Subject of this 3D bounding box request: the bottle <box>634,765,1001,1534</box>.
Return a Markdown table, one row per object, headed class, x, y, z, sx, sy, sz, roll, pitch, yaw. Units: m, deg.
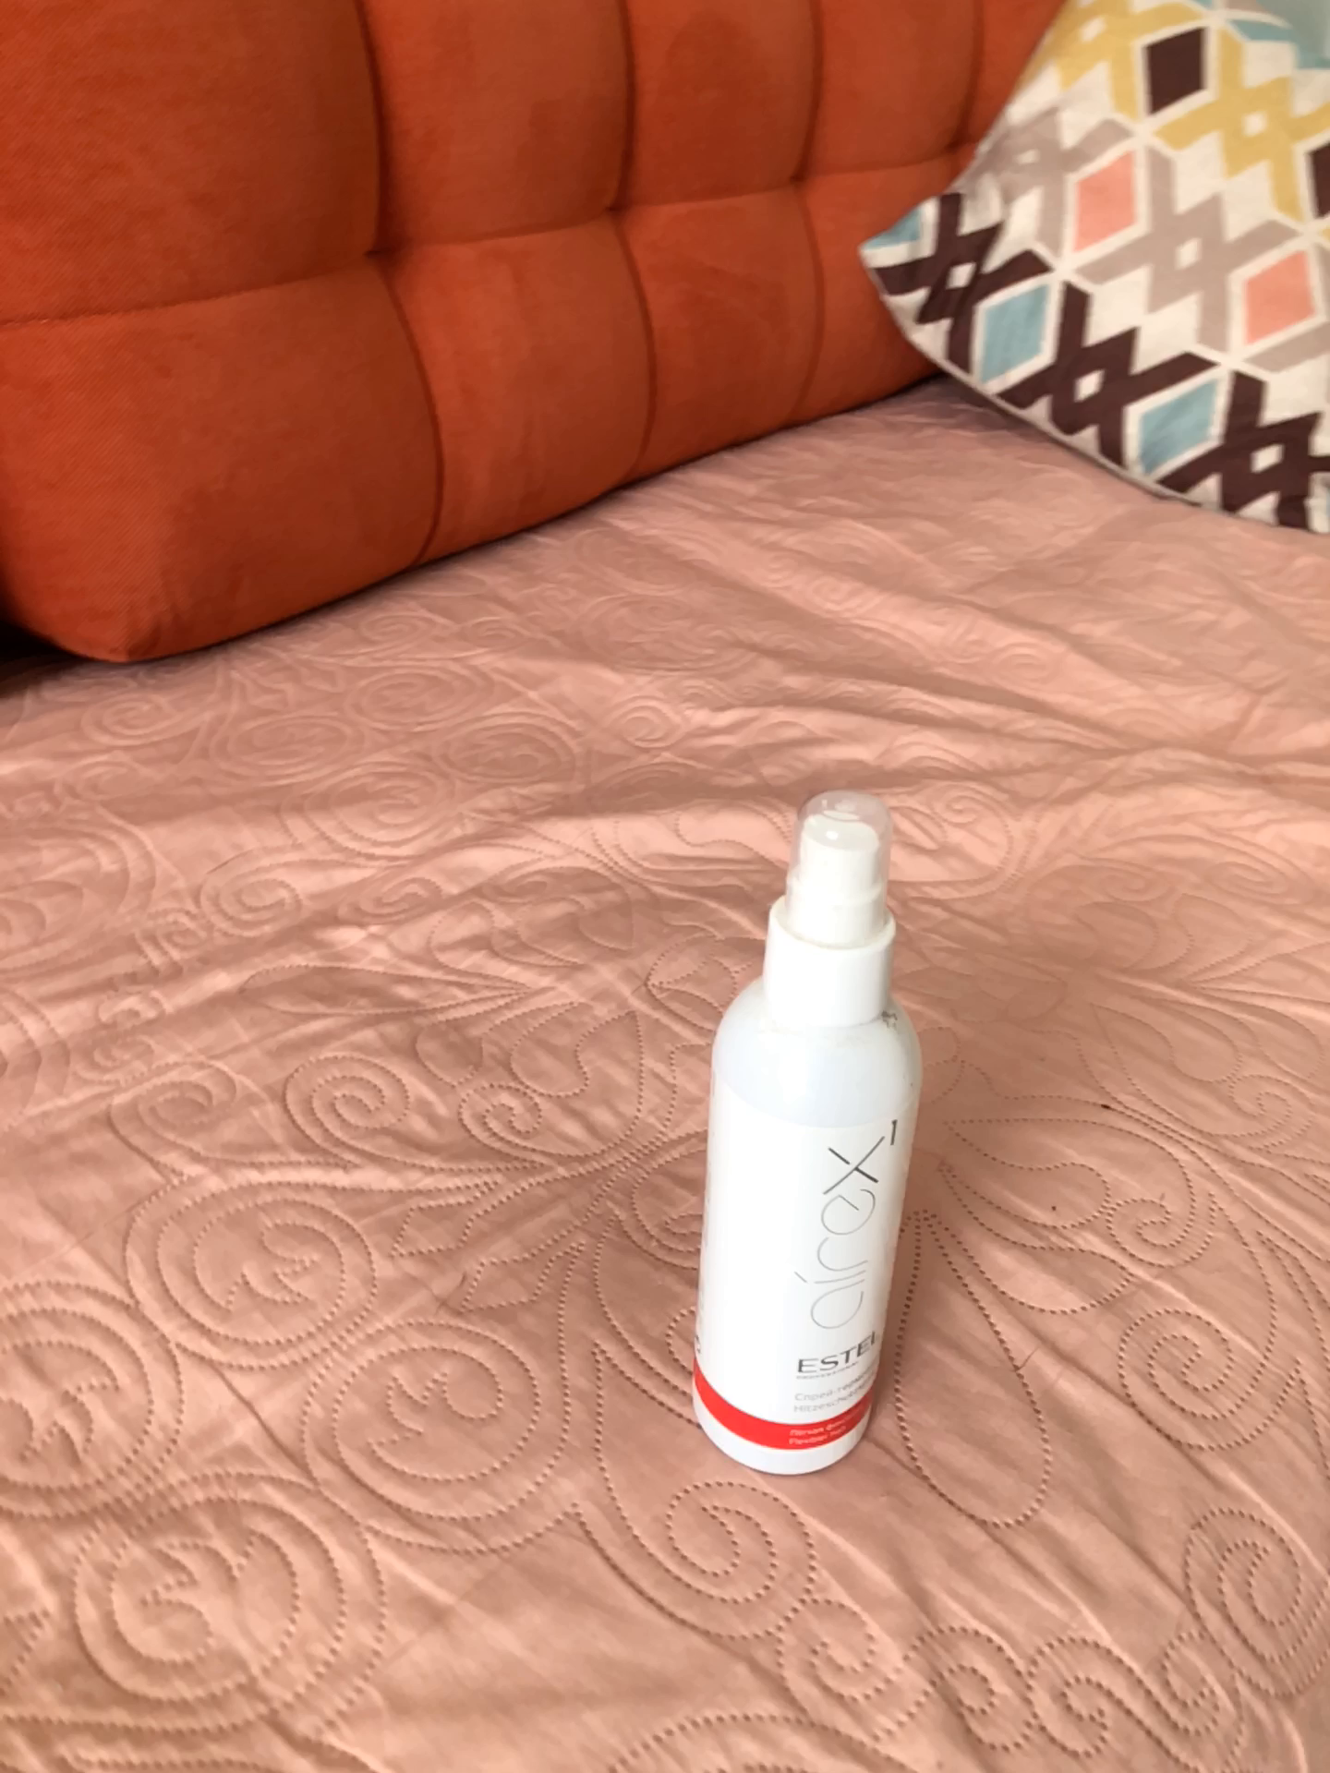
| class | x | y | z | sx | sy | sz | roll | pitch | yaw |
| --- | --- | --- | --- | --- | --- | --- | --- | --- | --- |
| bottle | 0.028 | 0.063 | 0.329 | 0.050 | 0.169 | 0.050 | 1 | 32 | -1 |
